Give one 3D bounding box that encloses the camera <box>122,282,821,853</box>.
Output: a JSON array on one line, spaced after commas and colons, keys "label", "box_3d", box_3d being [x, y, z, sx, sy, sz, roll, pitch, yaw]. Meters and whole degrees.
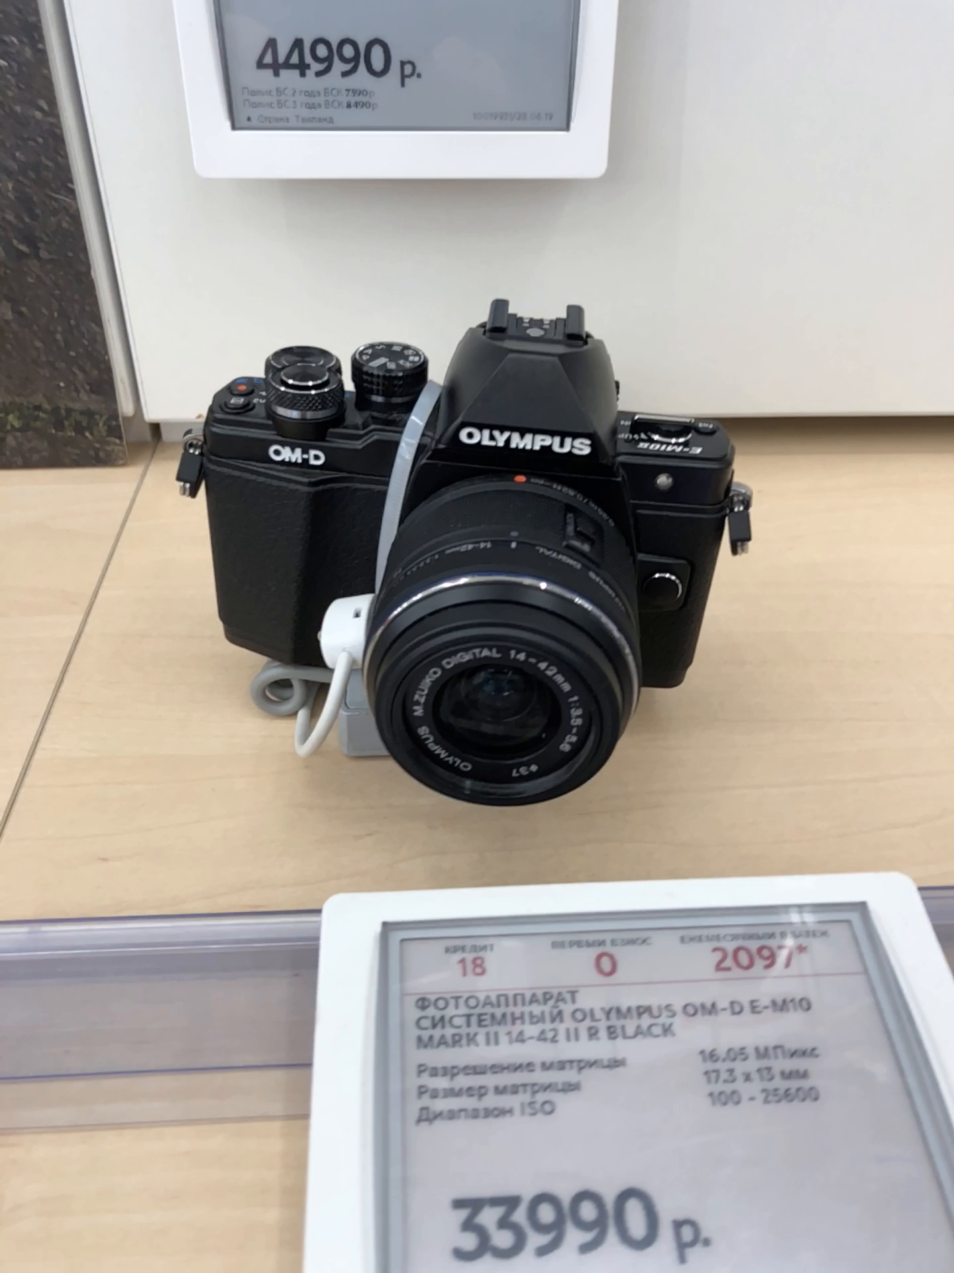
[{"label": "camera", "box_3d": [0.001, -0.020, 0.233, 0.112, 0.079, 0.101, 2, 37, 2]}]
